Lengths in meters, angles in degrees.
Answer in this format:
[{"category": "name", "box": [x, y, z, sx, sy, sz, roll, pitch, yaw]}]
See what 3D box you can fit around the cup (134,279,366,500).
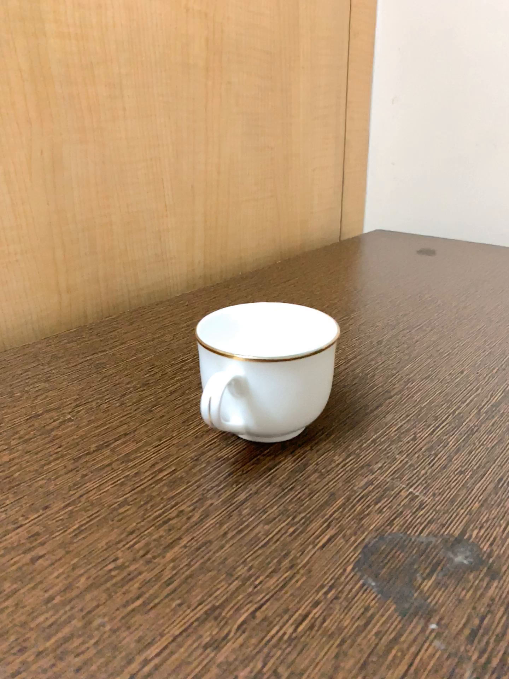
[{"category": "cup", "box": [0.003, 0.013, 0.228, 0.060, 0.050, 0.090, 11, 25, 27]}]
